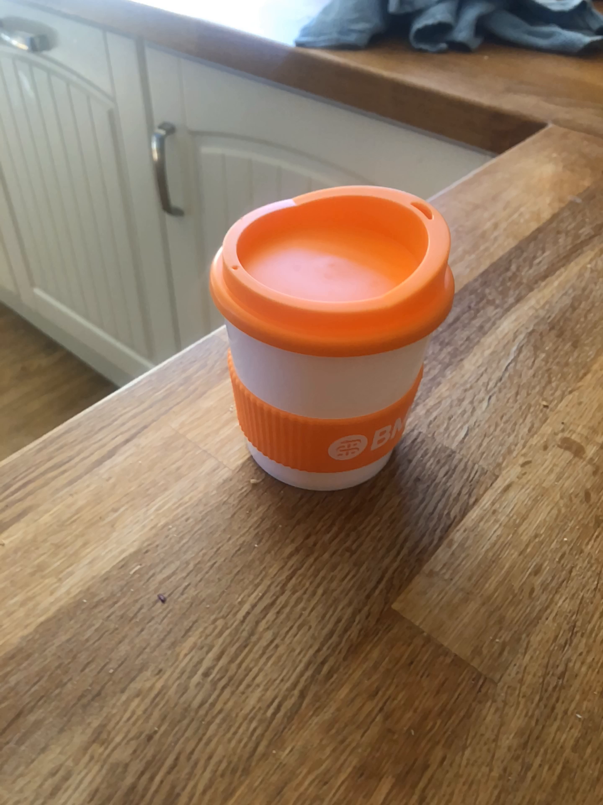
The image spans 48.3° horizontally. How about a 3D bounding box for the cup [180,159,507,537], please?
[{"bbox_3d":[0.016,-0.024,0.260,0.080,0.094,0.086,1,42,-1],"label":"cup"}]
